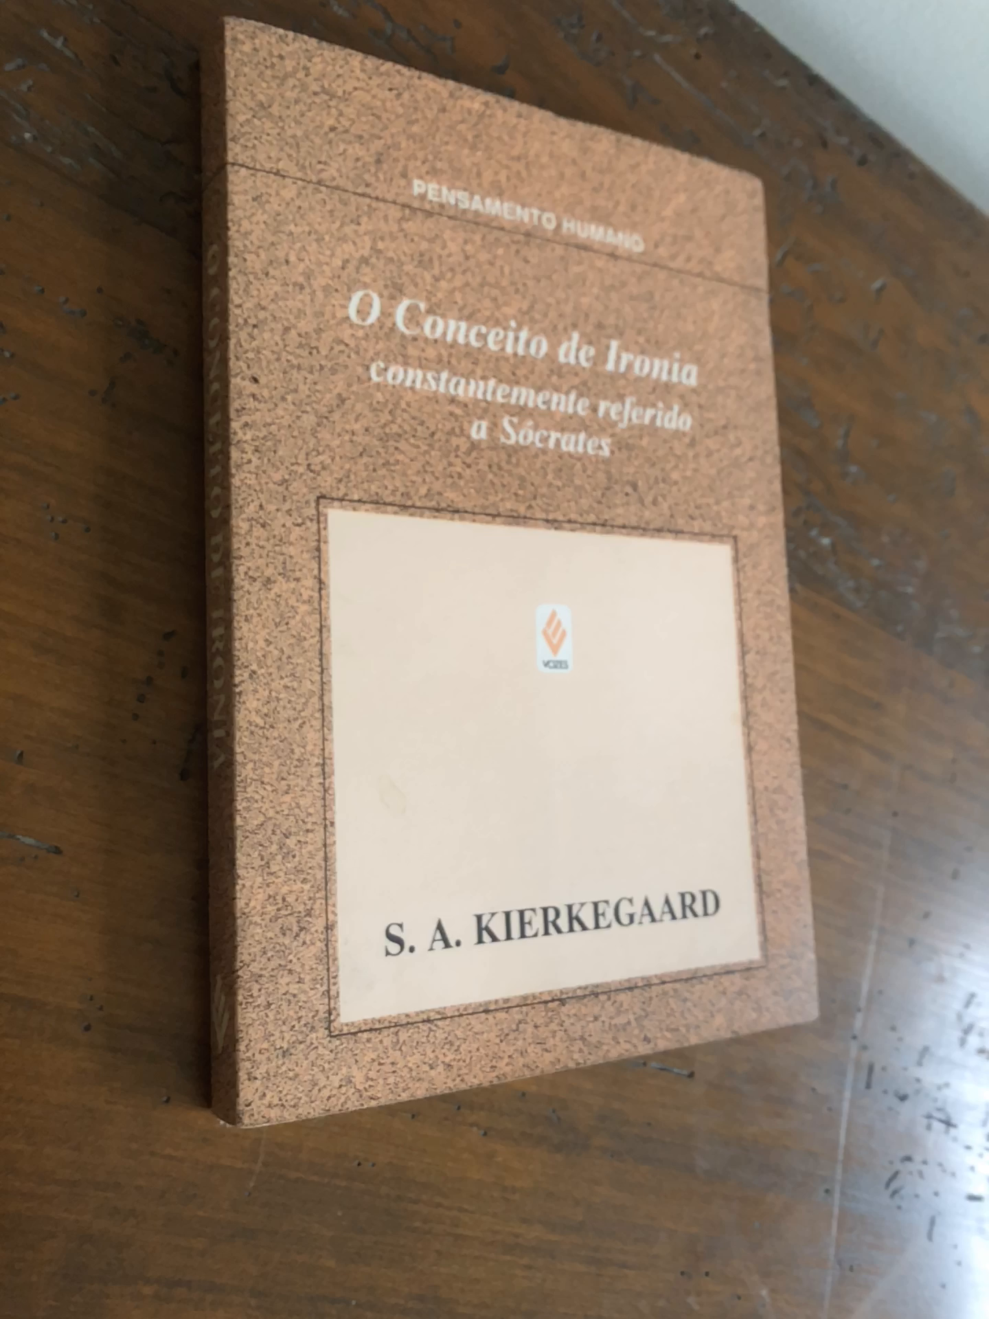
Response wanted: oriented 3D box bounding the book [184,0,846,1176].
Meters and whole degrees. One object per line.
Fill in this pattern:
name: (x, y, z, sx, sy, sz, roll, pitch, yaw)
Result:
book: (0.008, -0.020, 0.244, 0.145, 0.024, 0.220, 2, 82, -30)
